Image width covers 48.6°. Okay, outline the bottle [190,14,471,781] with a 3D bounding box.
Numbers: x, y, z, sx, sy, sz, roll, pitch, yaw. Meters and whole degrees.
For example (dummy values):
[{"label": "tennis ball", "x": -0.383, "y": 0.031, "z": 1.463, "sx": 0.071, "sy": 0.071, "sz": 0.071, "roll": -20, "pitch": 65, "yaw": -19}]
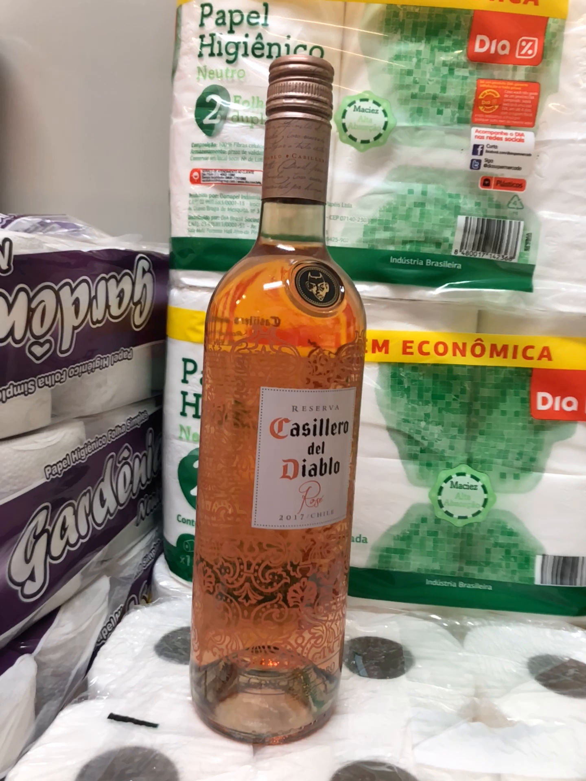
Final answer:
[{"label": "bottle", "x": 0.007, "y": 0.016, "z": 0.297, "sx": 0.090, "sy": 0.309, "sz": 0.080, "roll": 0, "pitch": 10, "yaw": -17}]
